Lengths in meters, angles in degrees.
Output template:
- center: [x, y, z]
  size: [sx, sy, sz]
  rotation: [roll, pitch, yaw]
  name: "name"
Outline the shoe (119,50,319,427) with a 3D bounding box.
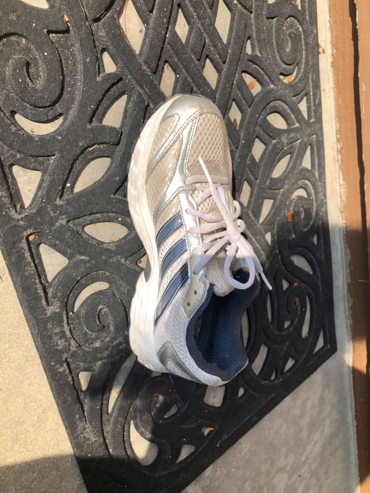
- center: [0.021, -0.008, 0.362]
  size: [0.100, 0.129, 0.260]
  rotation: [-6, 102, -39]
  name: "shoe"
